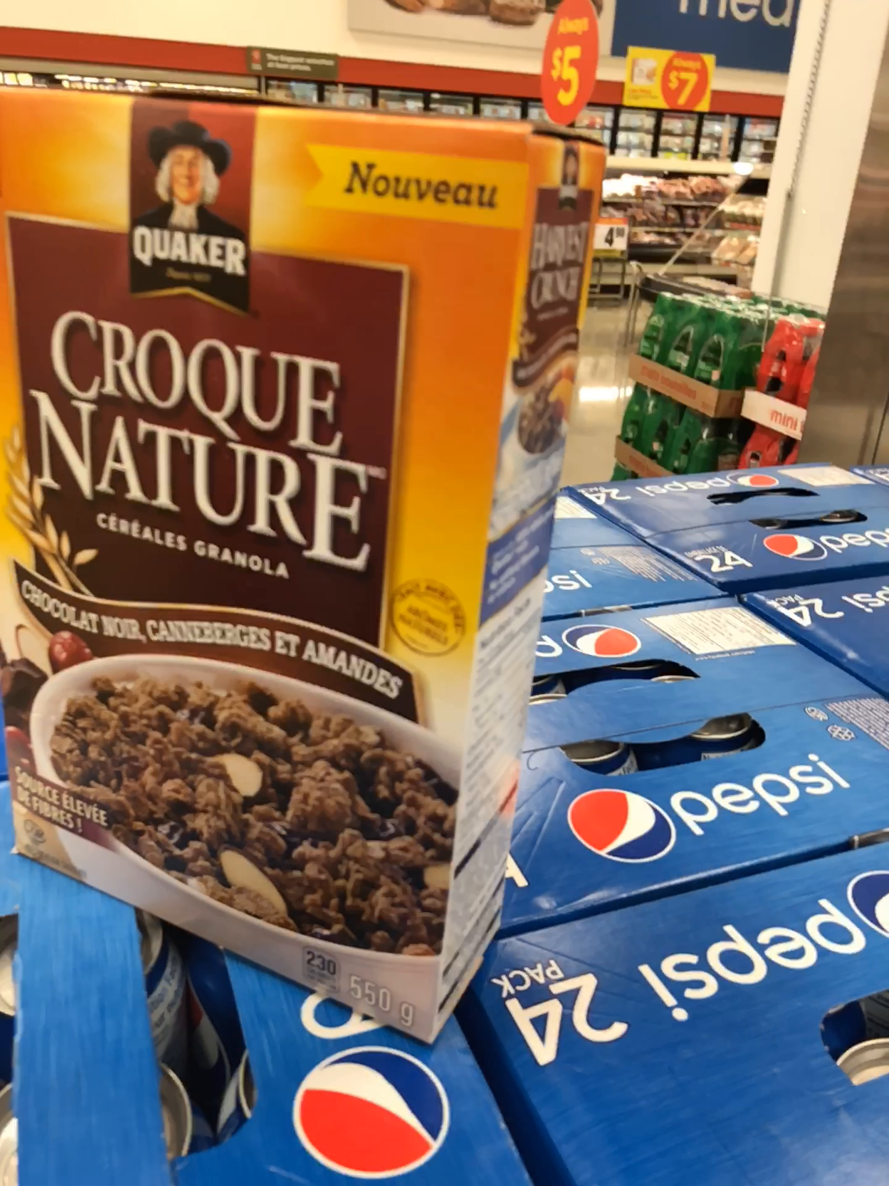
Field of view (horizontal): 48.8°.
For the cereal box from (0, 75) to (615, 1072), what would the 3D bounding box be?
[{"bbox_3d":[-0.054,-0.008,0.268,0.160,0.229,0.060,15,26,24],"label":"cereal box"}]
